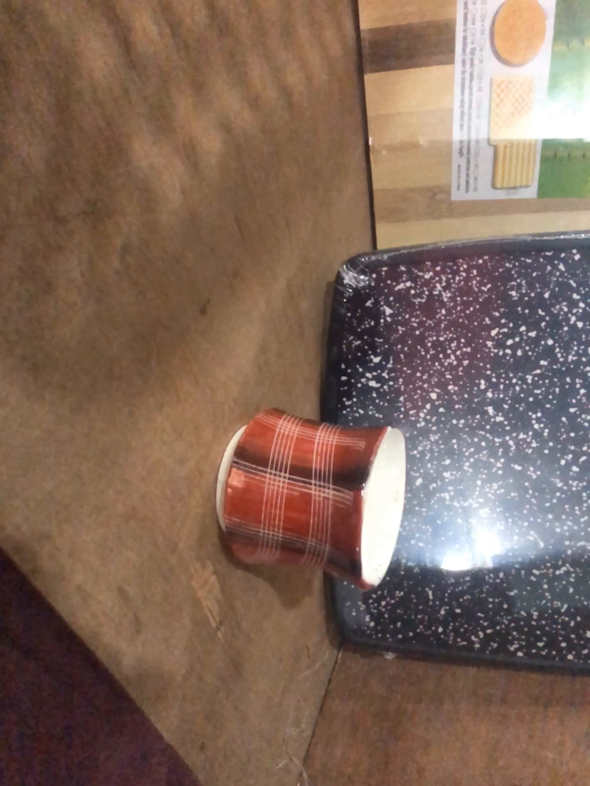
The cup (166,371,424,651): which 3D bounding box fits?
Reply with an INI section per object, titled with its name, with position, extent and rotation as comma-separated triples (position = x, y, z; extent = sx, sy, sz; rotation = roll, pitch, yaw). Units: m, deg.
[cup]
position = 0.008, 0.046, 0.250
extent = 0.090, 0.060, 0.060
rotation = 67, 37, -47
